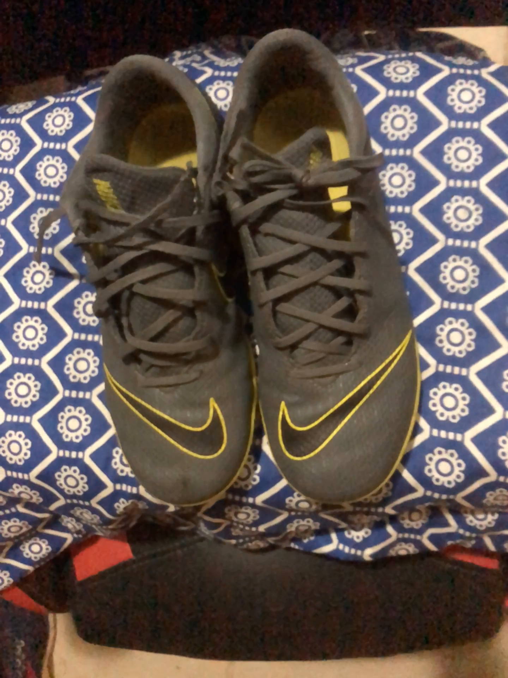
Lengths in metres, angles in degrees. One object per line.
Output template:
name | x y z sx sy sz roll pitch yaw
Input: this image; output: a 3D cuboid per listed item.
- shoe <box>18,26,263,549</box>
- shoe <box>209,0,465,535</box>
shoe | -0.057 -0.023 0.311 0.090 0.090 0.240 -6 83 9
shoe | 0.041 -0.033 0.301 0.090 0.090 0.240 -6 83 9
